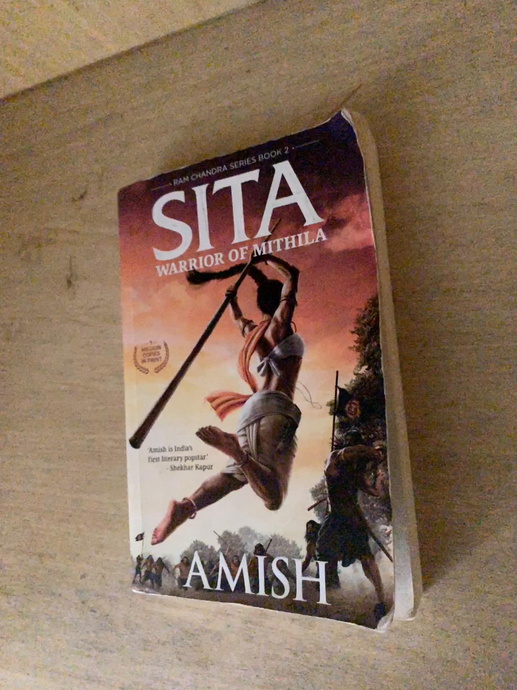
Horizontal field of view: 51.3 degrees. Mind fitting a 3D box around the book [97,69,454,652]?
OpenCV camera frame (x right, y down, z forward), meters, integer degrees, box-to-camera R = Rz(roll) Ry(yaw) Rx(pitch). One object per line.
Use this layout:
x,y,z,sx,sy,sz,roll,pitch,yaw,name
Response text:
-0.004,0.007,0.229,0.140,0.030,0.200,-8,80,27,book
